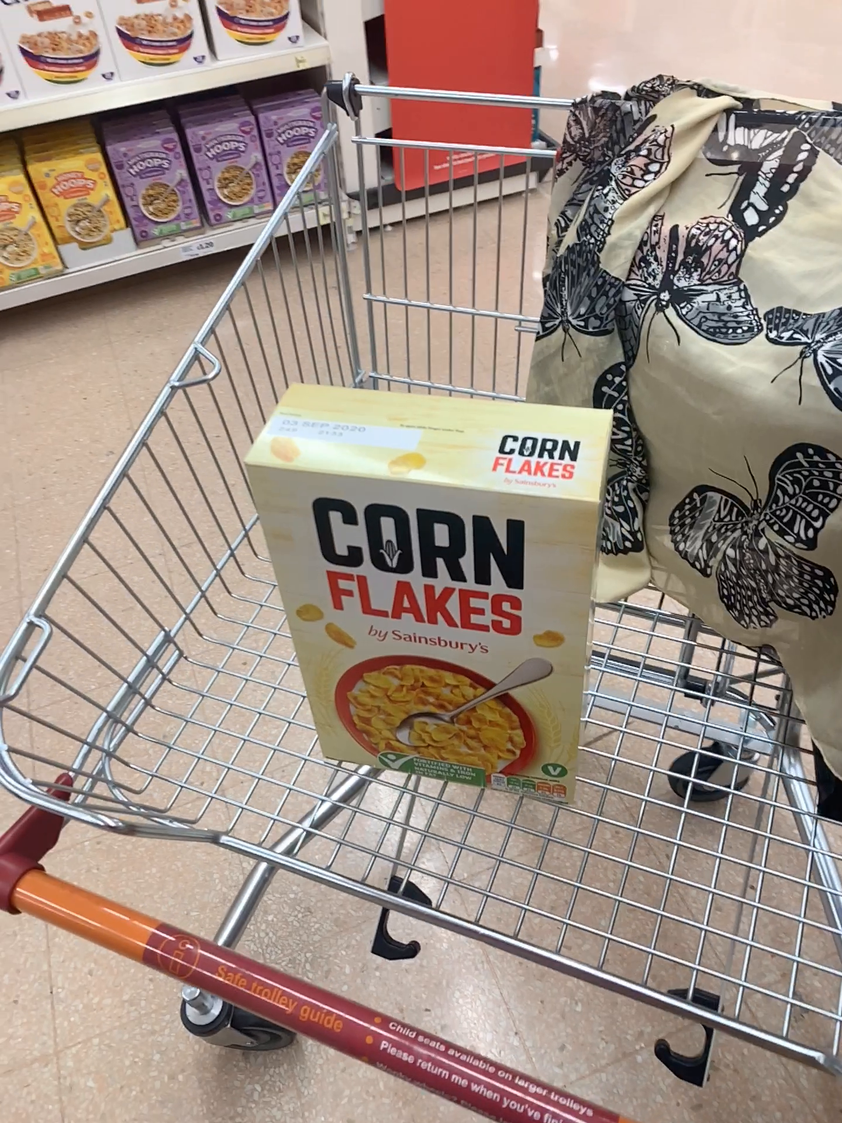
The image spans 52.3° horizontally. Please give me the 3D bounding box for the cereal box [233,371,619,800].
[{"bbox_3d":[0.013,0.028,0.550,0.190,0.277,0.081,8,46,13],"label":"cereal box"}]
